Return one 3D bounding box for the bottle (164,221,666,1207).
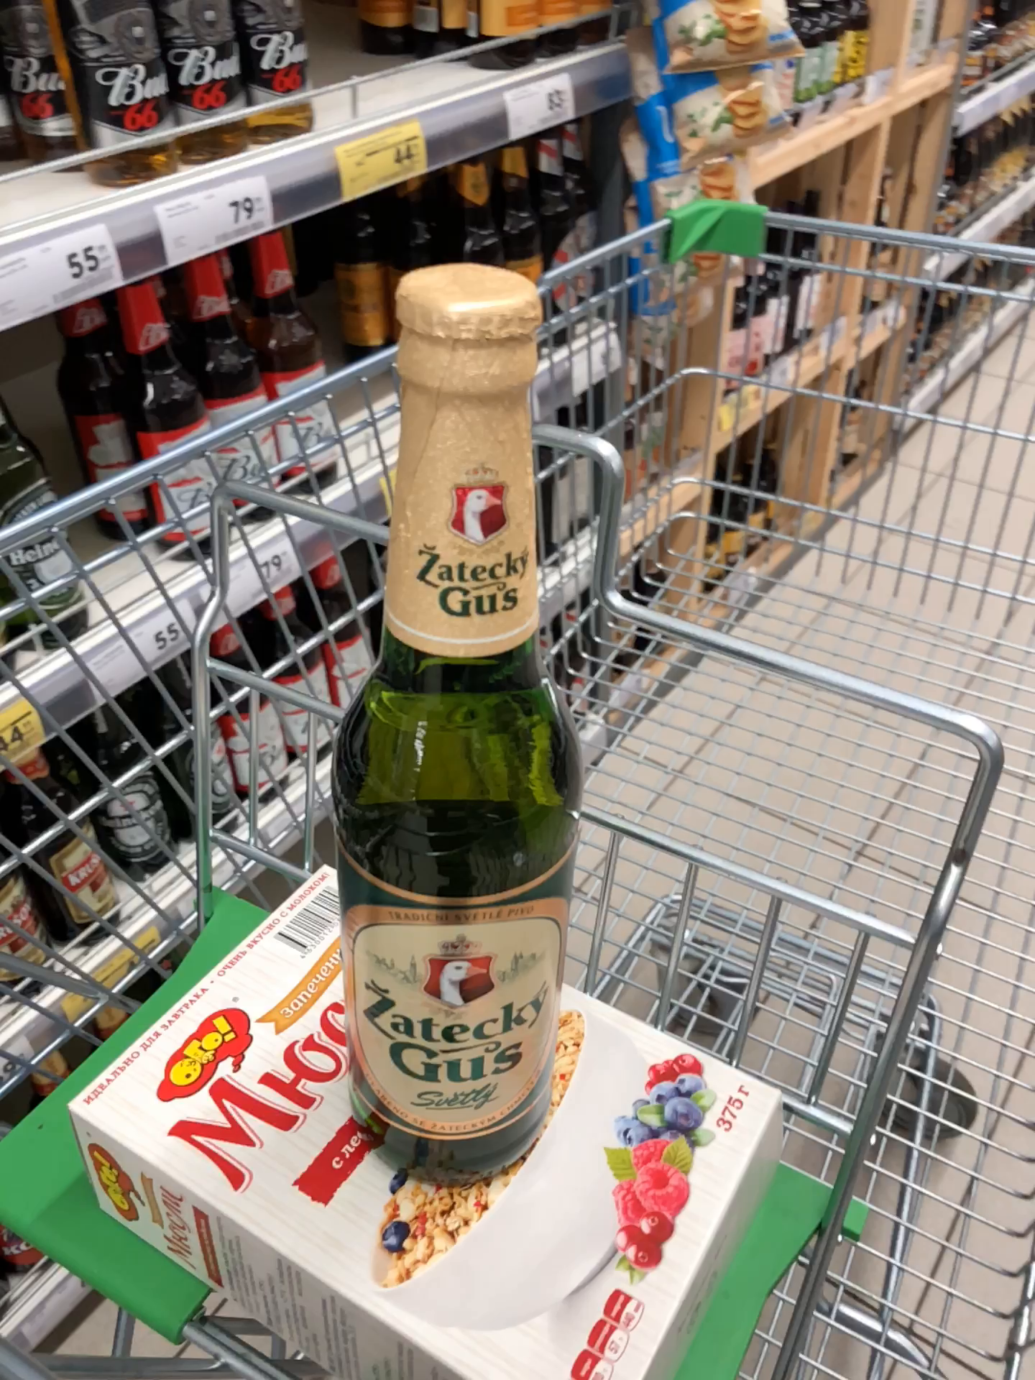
[{"bbox_3d":[-0.016,0.030,0.293,0.080,0.268,0.070,1,39,1],"label":"bottle"}]
